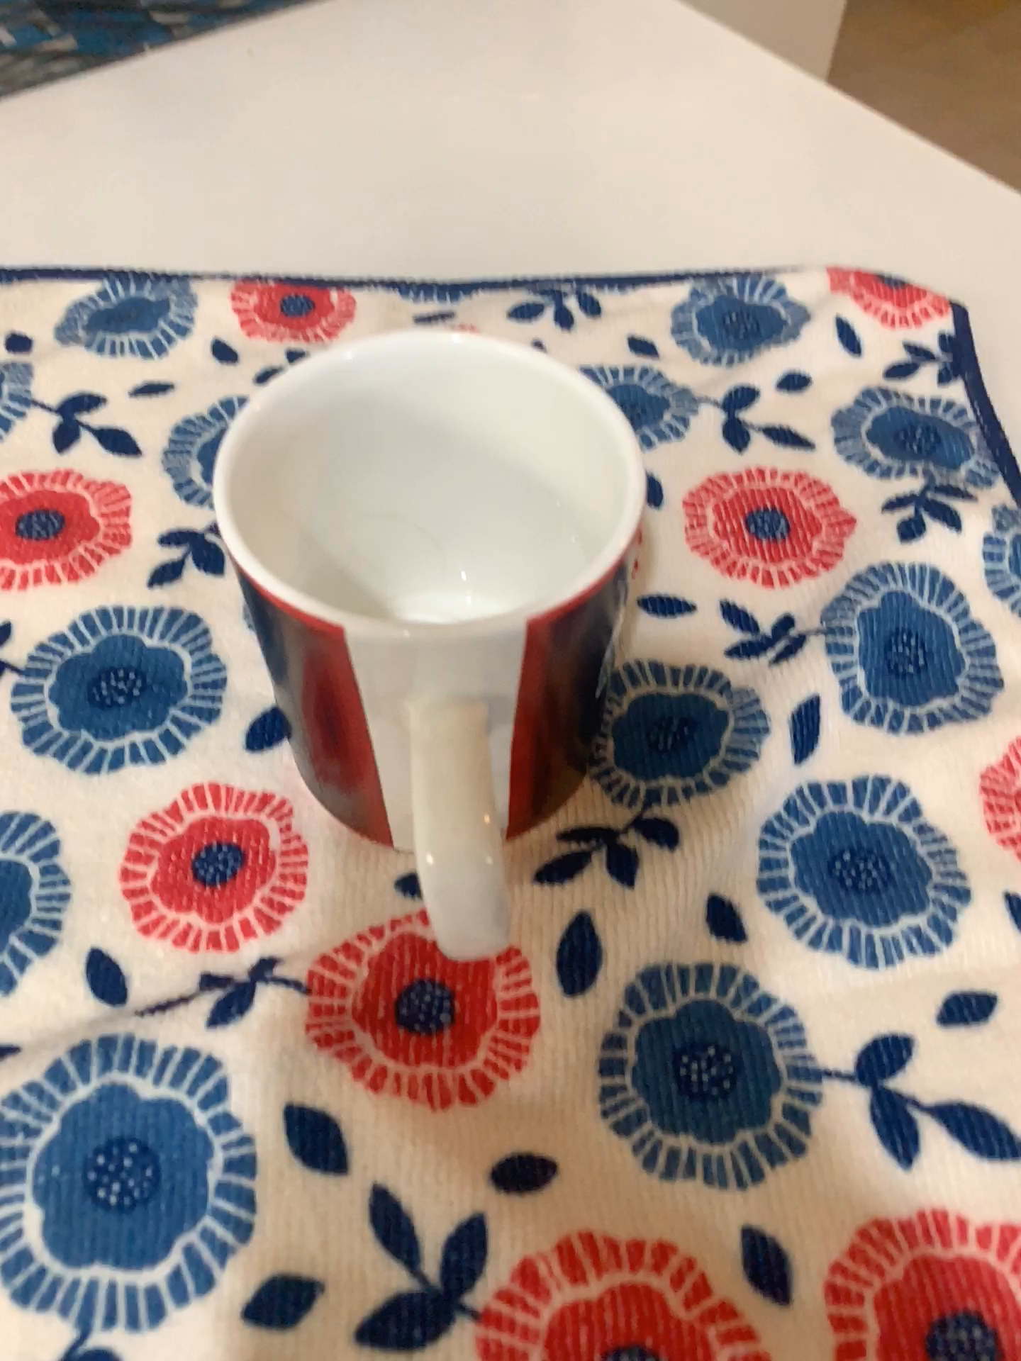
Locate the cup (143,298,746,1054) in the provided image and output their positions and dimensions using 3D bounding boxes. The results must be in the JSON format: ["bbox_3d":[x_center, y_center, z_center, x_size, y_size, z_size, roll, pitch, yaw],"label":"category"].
[{"bbox_3d":[-0.016,-0.001,0.208,0.080,0.089,0.111,-5,55,-5],"label":"cup"}]
